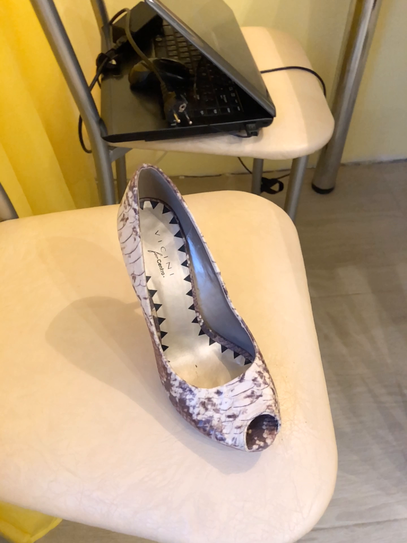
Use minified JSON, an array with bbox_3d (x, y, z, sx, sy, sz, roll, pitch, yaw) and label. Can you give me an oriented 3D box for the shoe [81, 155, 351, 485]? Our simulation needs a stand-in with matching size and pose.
[{"bbox_3d":[-0.004,0.030,0.341,0.080,0.129,0.201,-26,55,-19],"label":"shoe"}]
